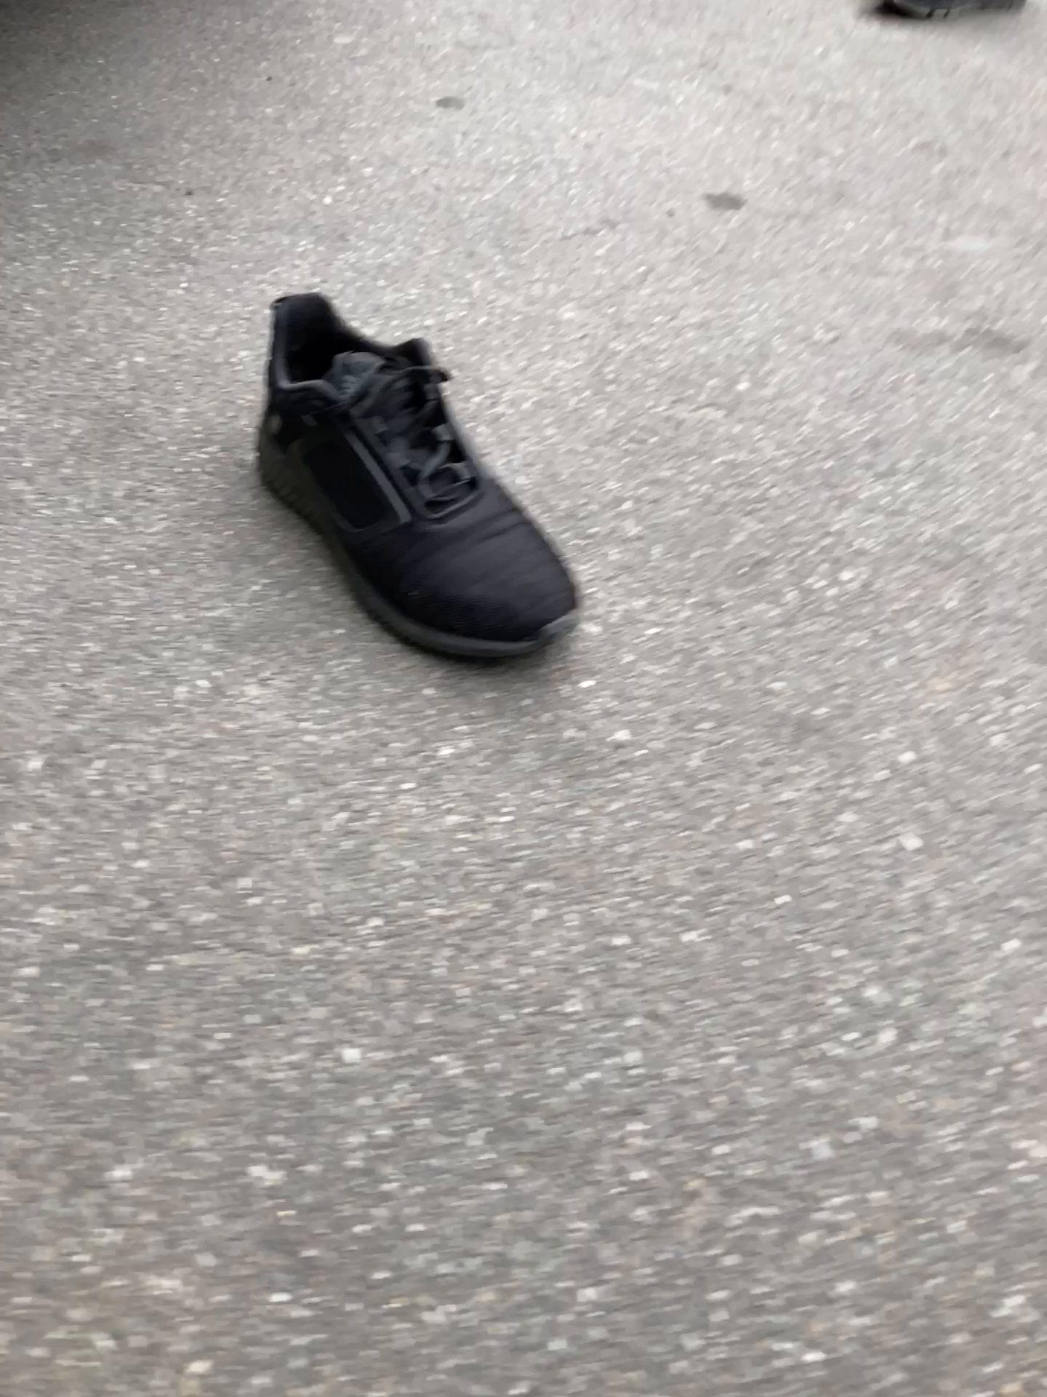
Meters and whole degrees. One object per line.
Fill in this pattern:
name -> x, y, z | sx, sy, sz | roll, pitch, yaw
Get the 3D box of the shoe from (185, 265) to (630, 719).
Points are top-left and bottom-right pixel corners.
shoe -> -0.075, -0.130, 0.659 | 0.100, 0.109, 0.281 | -28, 53, -27
